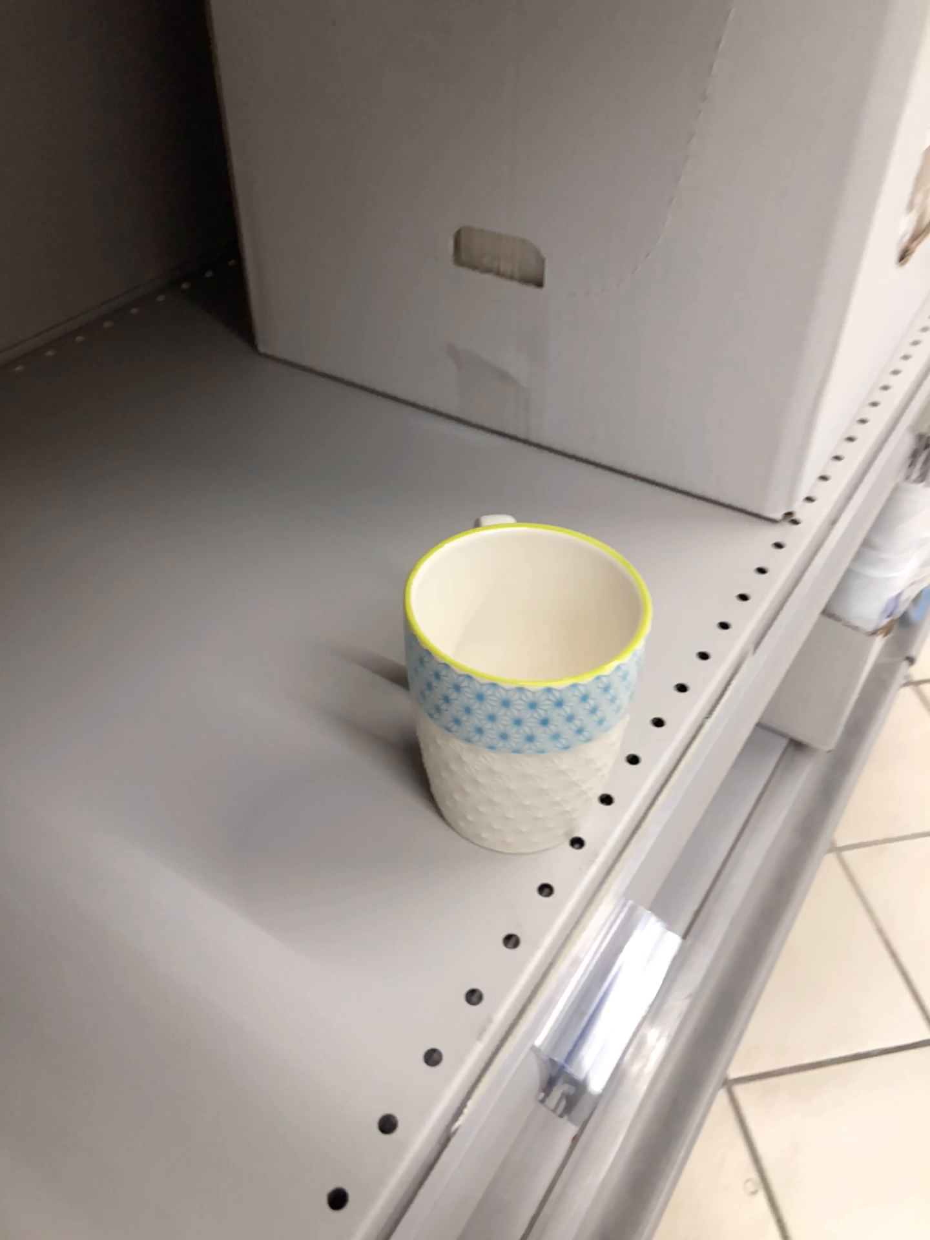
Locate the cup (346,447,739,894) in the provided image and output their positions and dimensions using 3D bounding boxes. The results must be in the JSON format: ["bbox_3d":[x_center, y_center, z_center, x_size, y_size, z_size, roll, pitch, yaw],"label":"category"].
[{"bbox_3d":[0.020,0.014,0.379,0.098,0.091,0.119,-11,44,-14],"label":"cup"}]
